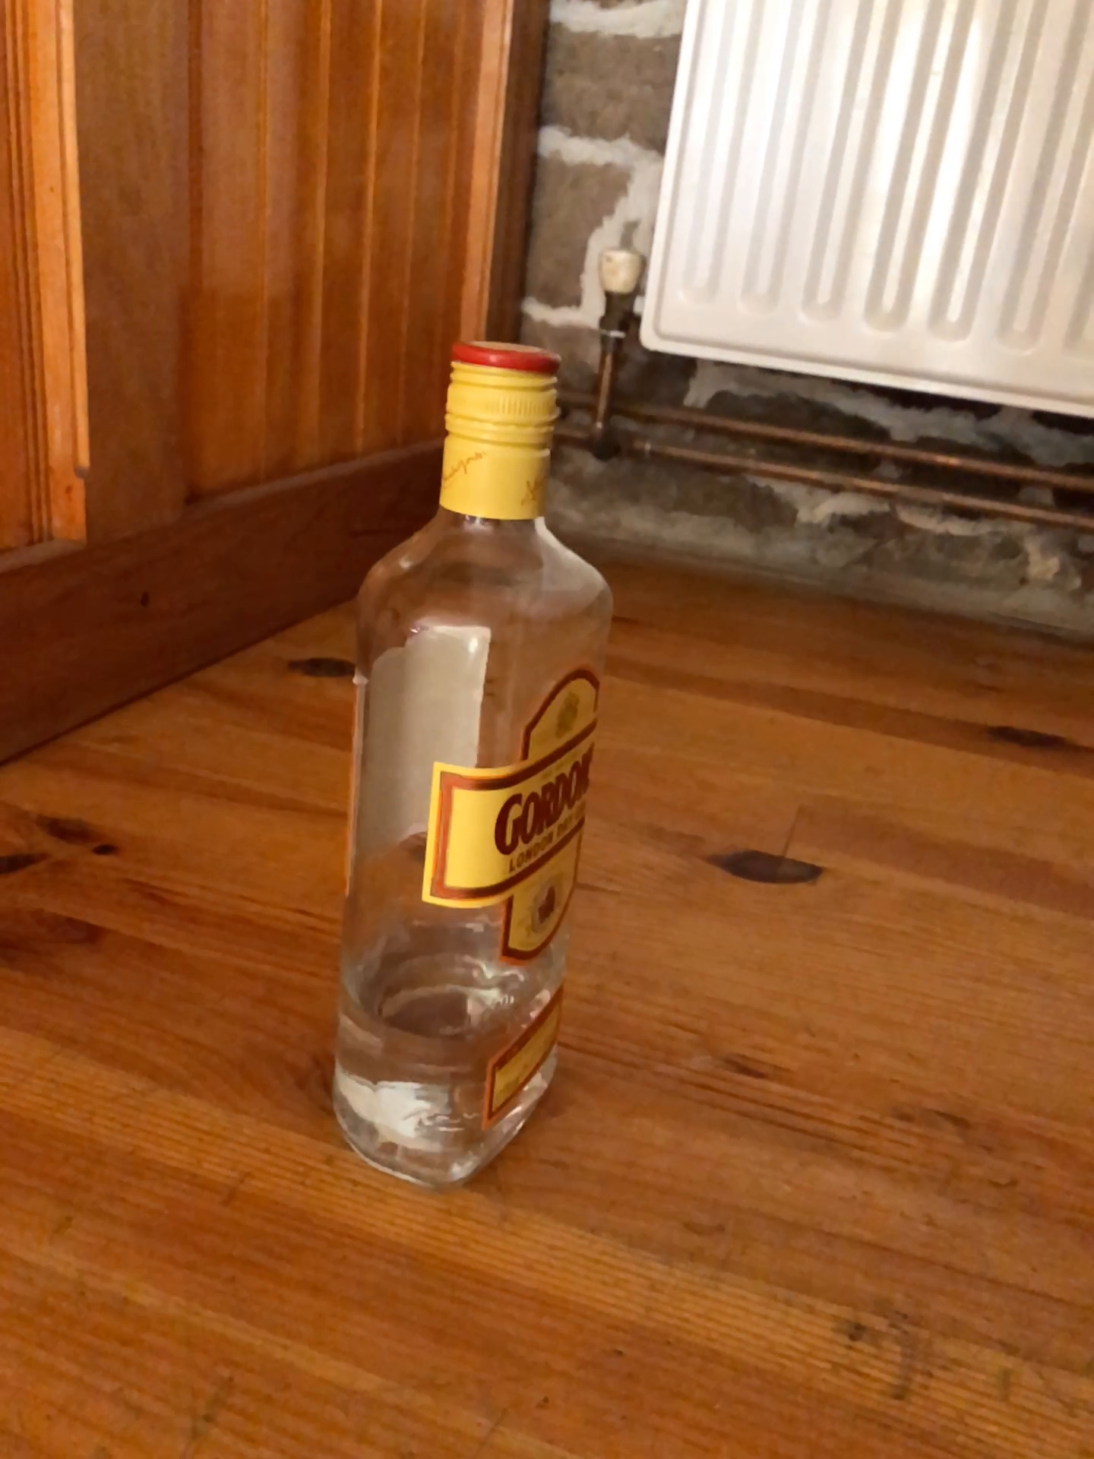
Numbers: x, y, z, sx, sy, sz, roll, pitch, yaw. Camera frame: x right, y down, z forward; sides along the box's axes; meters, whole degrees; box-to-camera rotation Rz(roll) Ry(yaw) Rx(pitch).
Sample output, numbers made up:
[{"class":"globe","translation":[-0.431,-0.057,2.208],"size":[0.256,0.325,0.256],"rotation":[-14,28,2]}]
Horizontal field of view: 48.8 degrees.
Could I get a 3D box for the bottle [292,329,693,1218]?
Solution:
[{"class":"bottle","translation":[-0.019,0.011,0.357],"size":[0.060,0.239,0.091],"rotation":[16,23,22]}]
